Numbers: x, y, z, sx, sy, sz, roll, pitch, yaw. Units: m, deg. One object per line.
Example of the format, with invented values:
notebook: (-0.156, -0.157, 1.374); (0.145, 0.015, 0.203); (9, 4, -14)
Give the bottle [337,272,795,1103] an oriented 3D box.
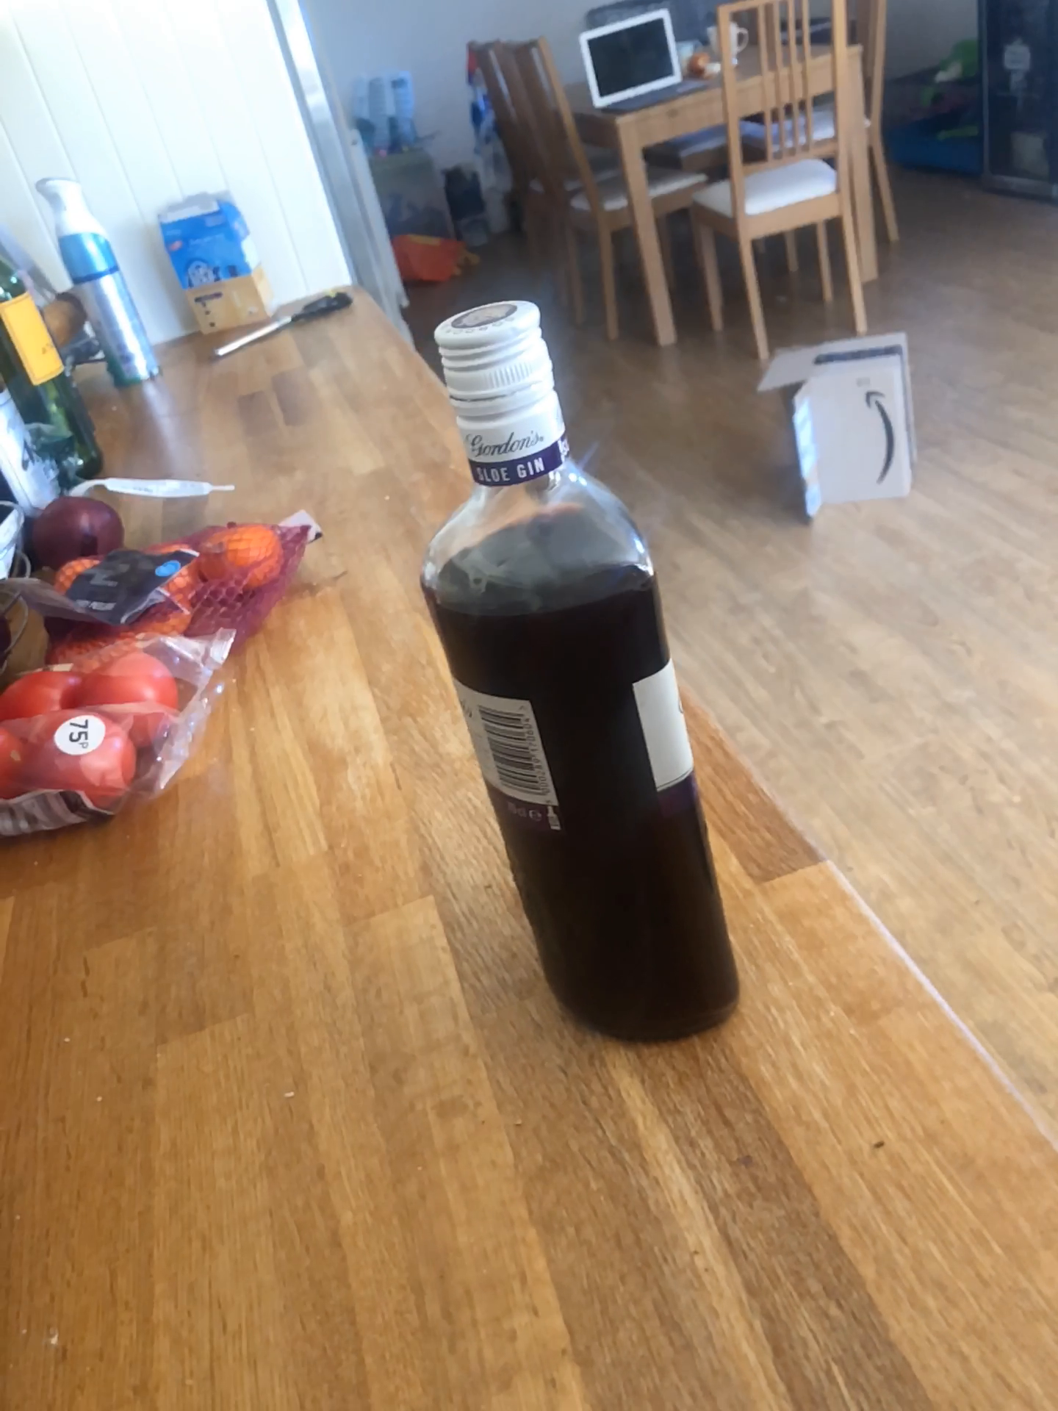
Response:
bottle: (0.016, 0.000, 0.380); (0.080, 0.238, 0.101); (-17, 31, -3)
